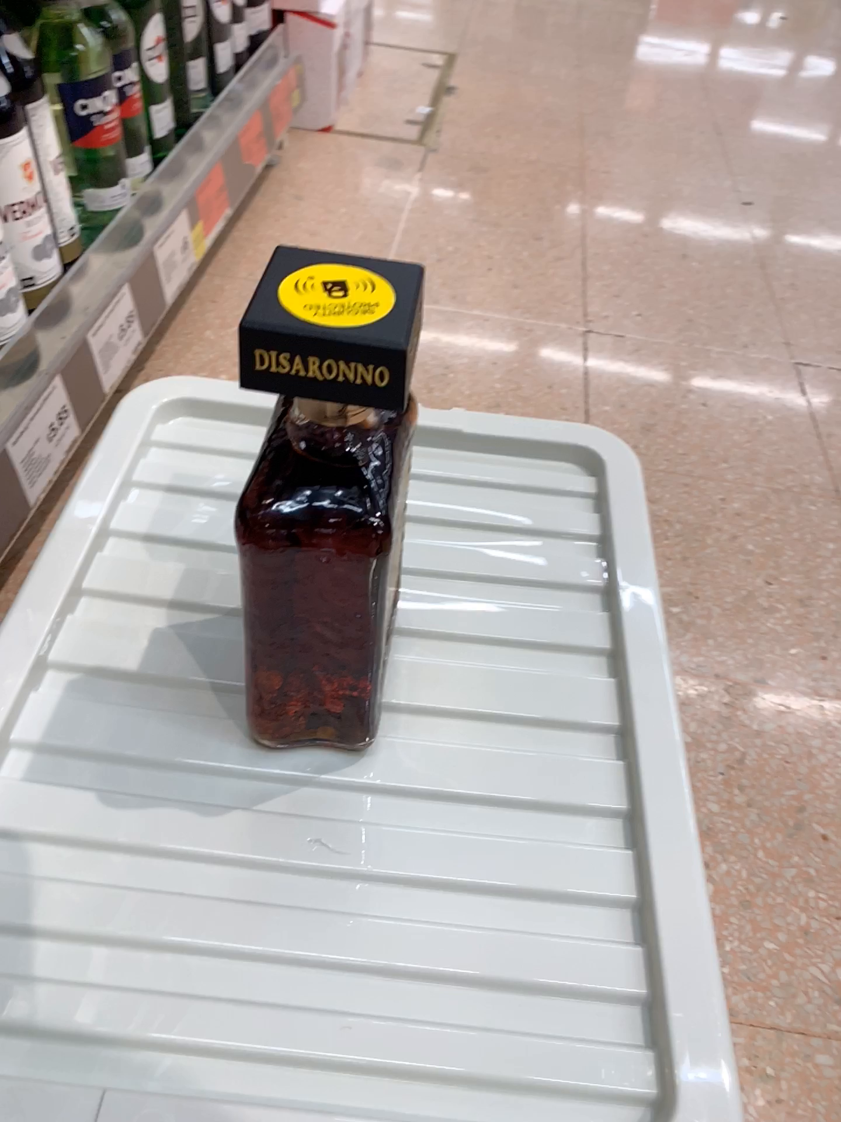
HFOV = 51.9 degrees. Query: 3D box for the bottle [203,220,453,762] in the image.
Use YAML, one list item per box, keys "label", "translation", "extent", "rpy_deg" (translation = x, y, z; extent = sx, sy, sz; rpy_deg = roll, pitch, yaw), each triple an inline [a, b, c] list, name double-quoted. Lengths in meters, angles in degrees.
- label: "bottle"
  translation: [-0.036, -0.020, 0.380]
  extent: [0.070, 0.208, 0.111]
  rpy_deg: [8, 45, 0]
